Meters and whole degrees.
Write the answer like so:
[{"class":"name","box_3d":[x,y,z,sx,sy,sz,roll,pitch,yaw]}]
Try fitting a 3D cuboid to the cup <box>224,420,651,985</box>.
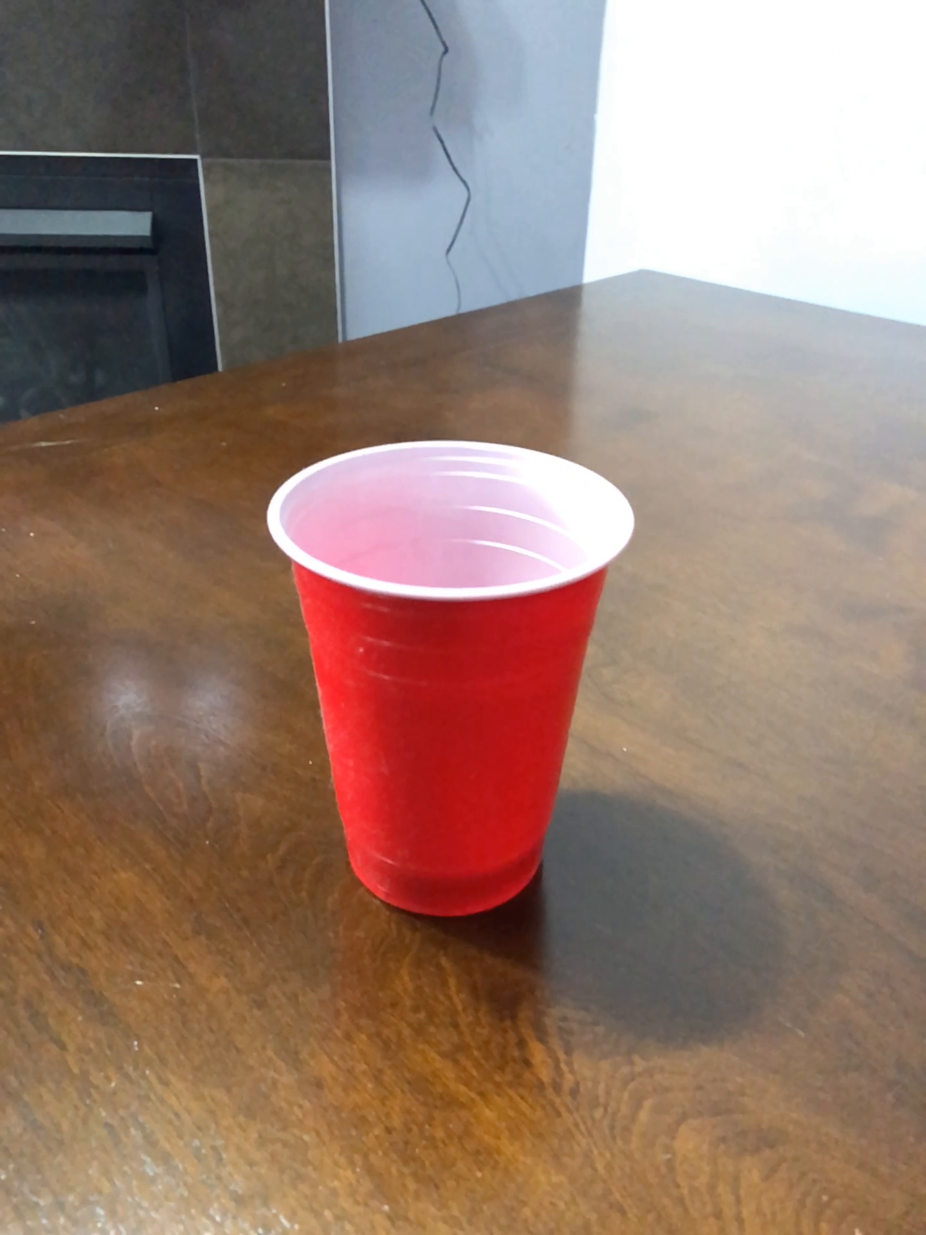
[{"class":"cup","box_3d":[-0.004,0.019,0.283,0.090,0.120,0.090,1,28,-1]}]
